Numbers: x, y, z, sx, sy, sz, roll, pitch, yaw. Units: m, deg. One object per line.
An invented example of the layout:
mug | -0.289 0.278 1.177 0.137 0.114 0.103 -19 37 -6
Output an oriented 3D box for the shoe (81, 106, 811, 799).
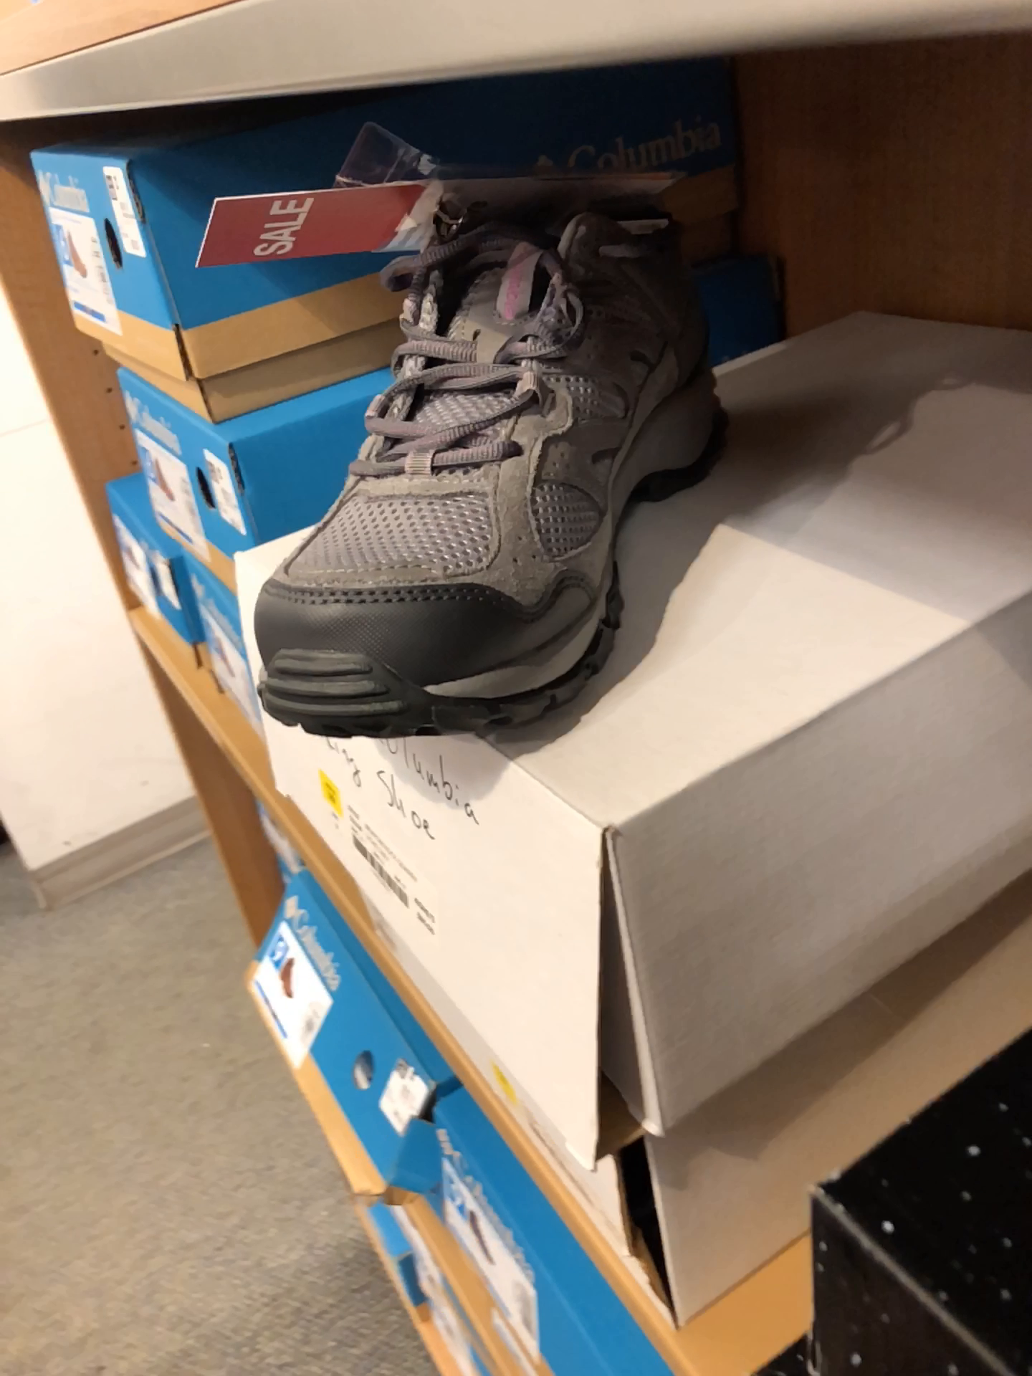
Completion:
shoe | 0.010 -0.097 0.371 0.104 0.114 0.268 5 35 26
